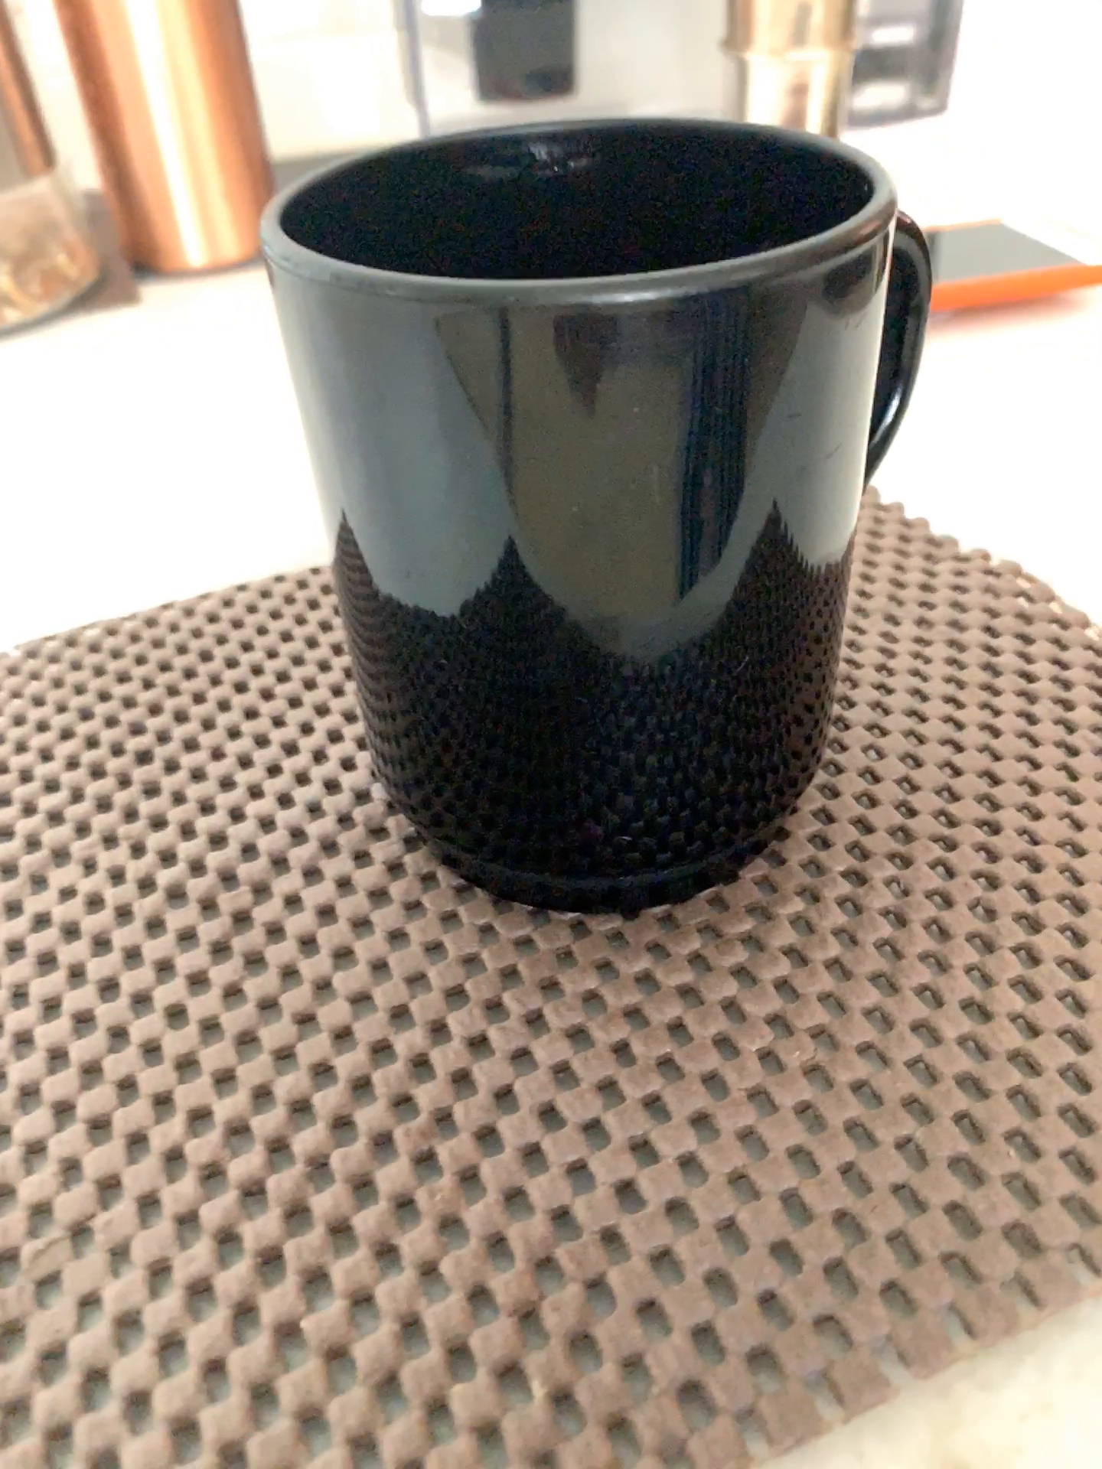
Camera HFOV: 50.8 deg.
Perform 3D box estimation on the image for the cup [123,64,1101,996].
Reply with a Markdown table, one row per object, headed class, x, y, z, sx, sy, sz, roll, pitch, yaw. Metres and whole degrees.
| class | x | y | z | sx | sy | sz | roll | pitch | yaw |
| --- | --- | --- | --- | --- | --- | --- | --- | --- | --- |
| cup | 0.013 | -0.039 | 0.167 | 0.101 | 0.080 | 0.077 | -31 | 46 | -30 |
